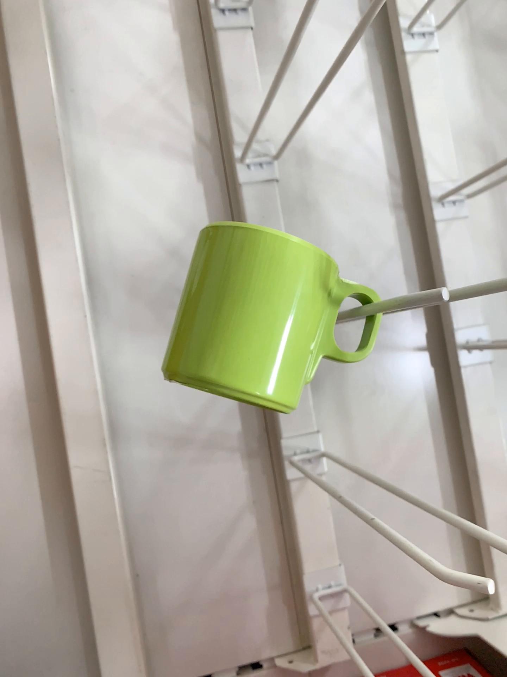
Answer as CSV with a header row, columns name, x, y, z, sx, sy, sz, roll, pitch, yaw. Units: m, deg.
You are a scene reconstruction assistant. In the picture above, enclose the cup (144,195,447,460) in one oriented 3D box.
name,x,y,z,sx,sy,sz,roll,pitch,yaw
cup,0.012,-0.001,0.270,0.100,0.110,0.080,173,-65,-75
